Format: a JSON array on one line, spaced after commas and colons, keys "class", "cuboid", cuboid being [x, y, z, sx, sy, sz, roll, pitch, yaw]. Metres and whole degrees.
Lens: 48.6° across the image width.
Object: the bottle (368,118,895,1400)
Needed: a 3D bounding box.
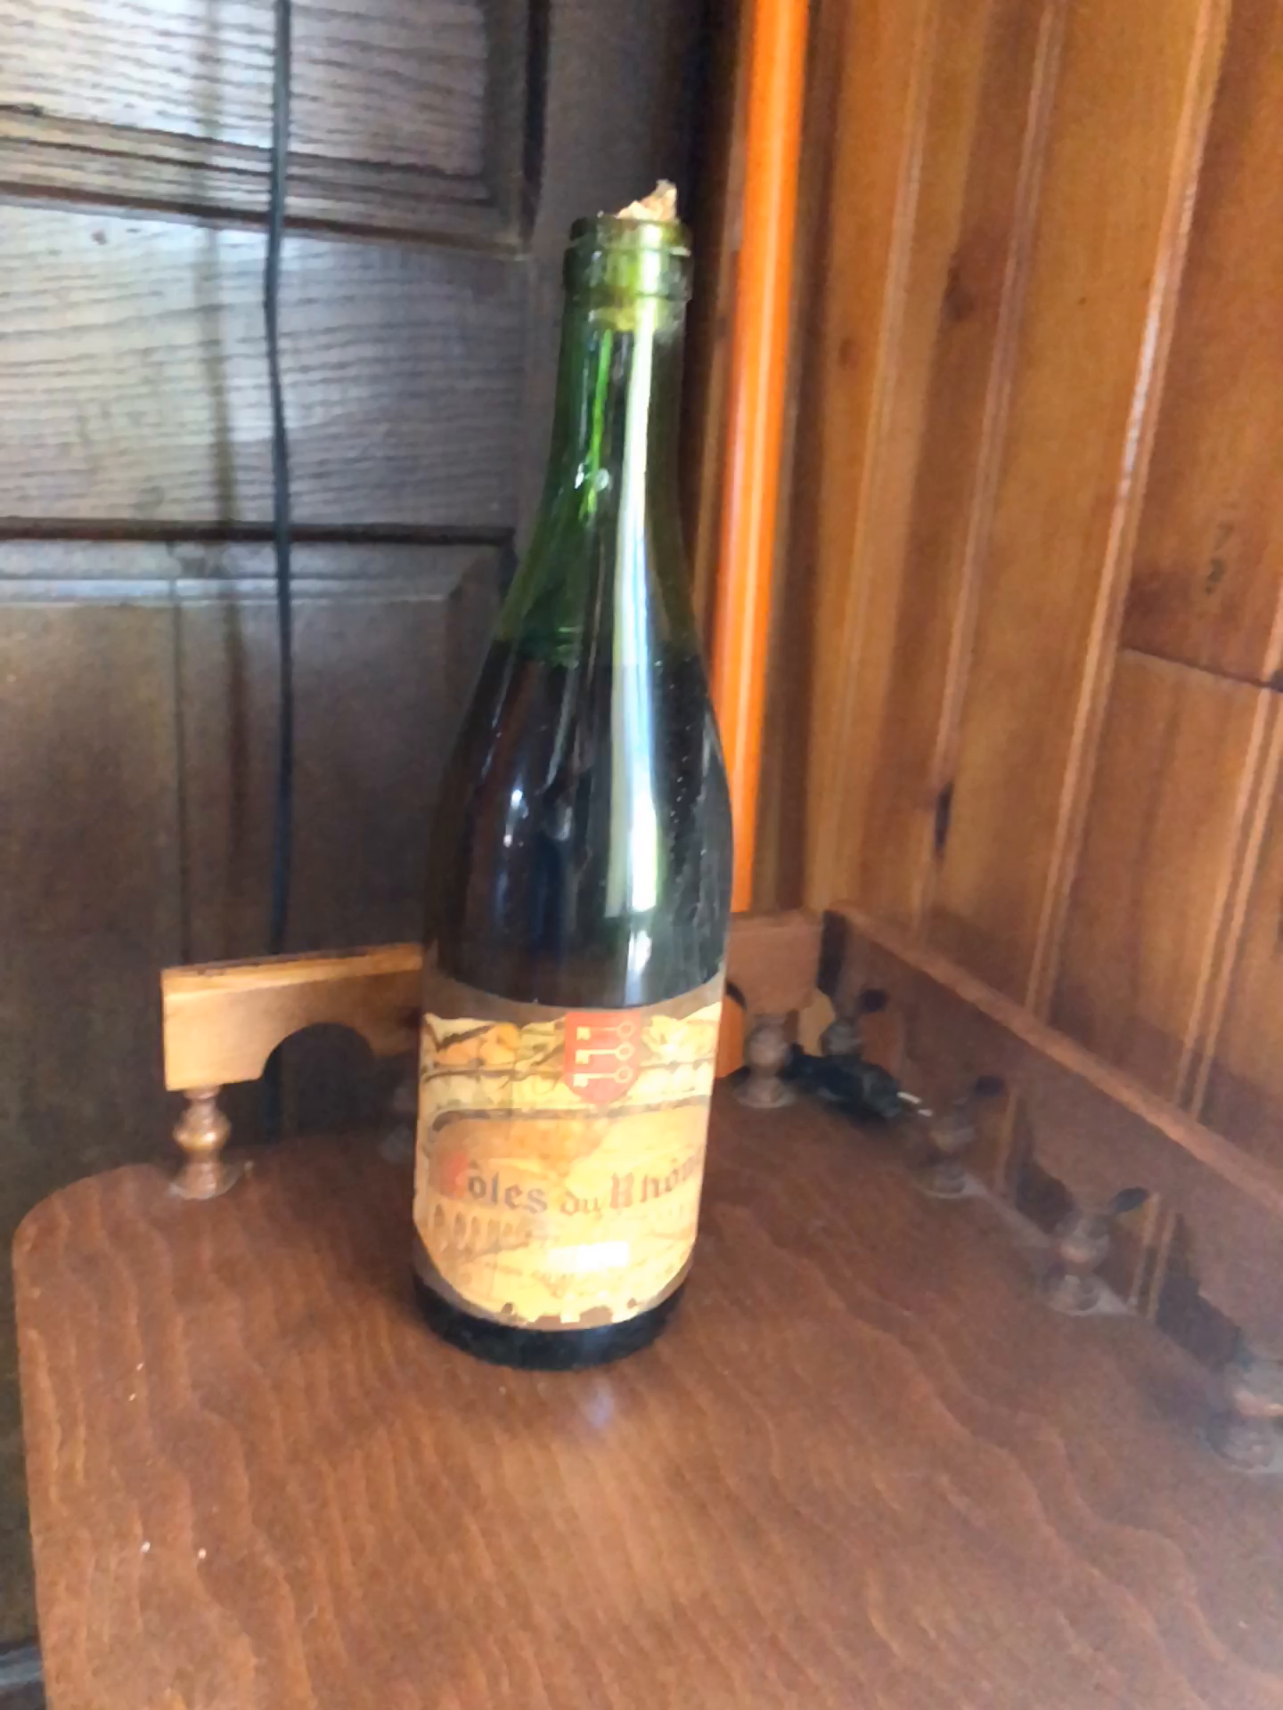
[{"class": "bottle", "cuboid": [-0.016, -0.016, 0.352, 0.090, 0.279, 0.090, 4, 19, -1]}]
